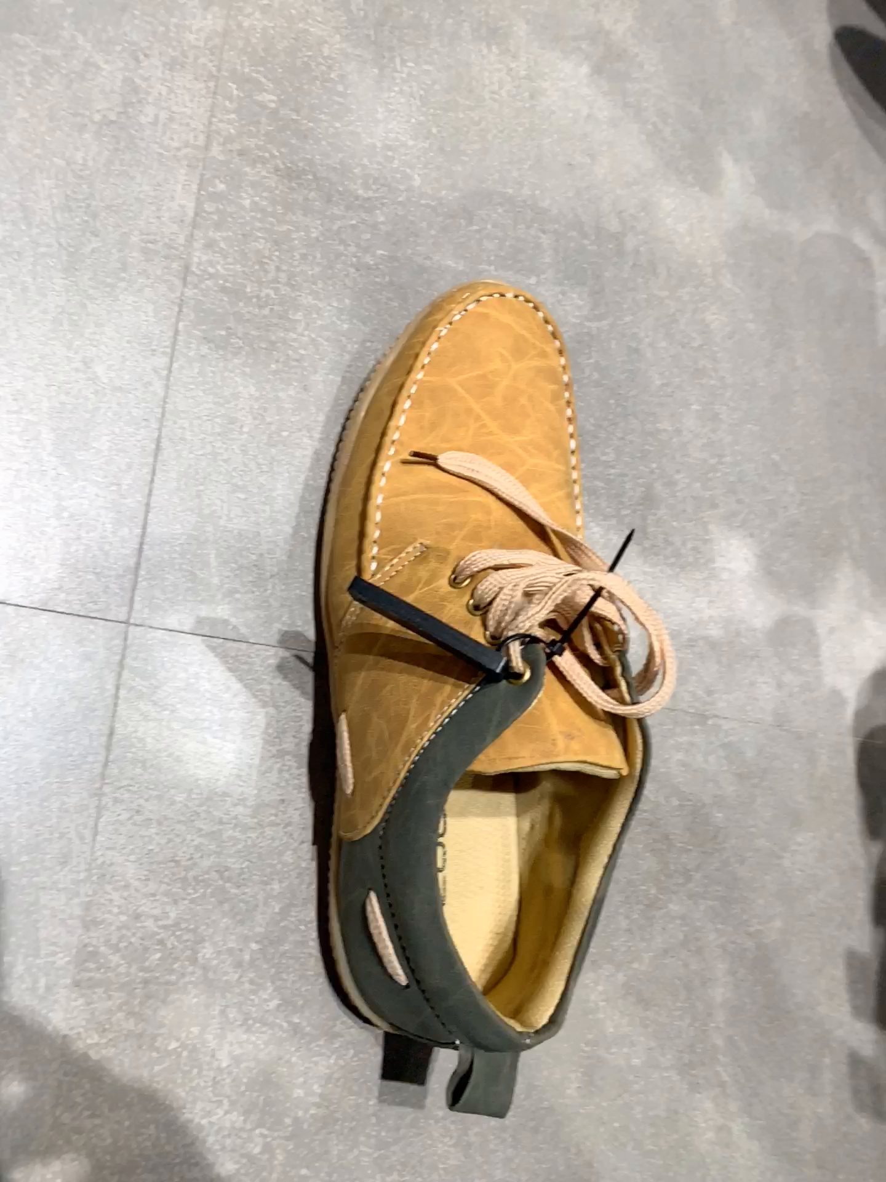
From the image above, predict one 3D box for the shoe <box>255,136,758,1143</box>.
[{"bbox_3d":[0.020,0.015,0.315,0.112,0.116,0.267,10,76,-29],"label":"shoe"}]
